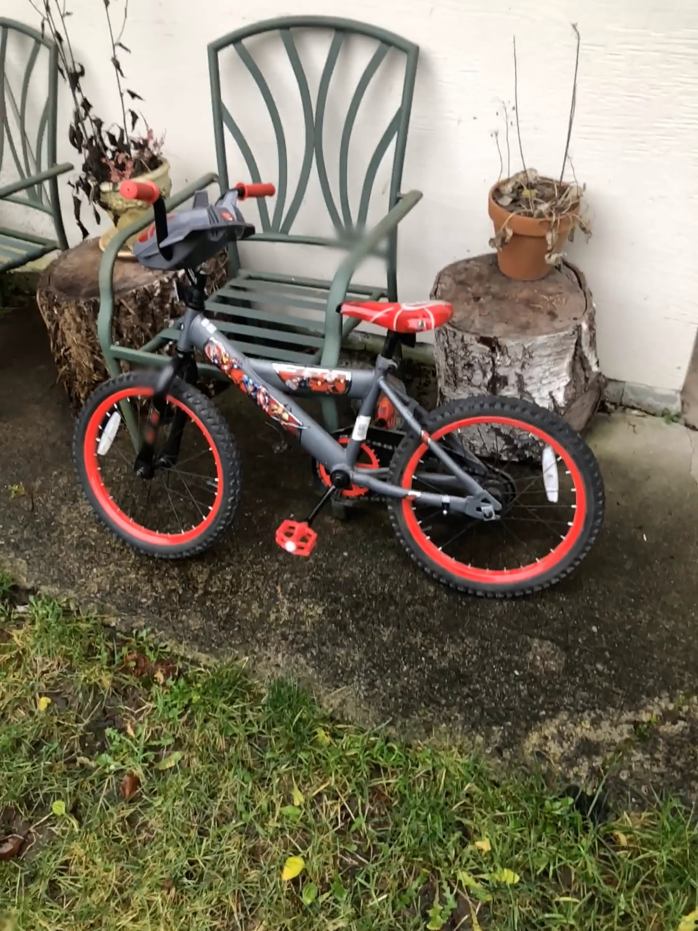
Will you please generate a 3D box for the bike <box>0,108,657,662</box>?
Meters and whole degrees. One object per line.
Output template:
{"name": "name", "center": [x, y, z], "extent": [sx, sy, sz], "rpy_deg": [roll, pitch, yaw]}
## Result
{"name": "bike", "center": [-0.071, -0.182, 1.610], "extent": [1.200, 0.853, 0.604], "rpy_deg": [6, 42, 16]}
